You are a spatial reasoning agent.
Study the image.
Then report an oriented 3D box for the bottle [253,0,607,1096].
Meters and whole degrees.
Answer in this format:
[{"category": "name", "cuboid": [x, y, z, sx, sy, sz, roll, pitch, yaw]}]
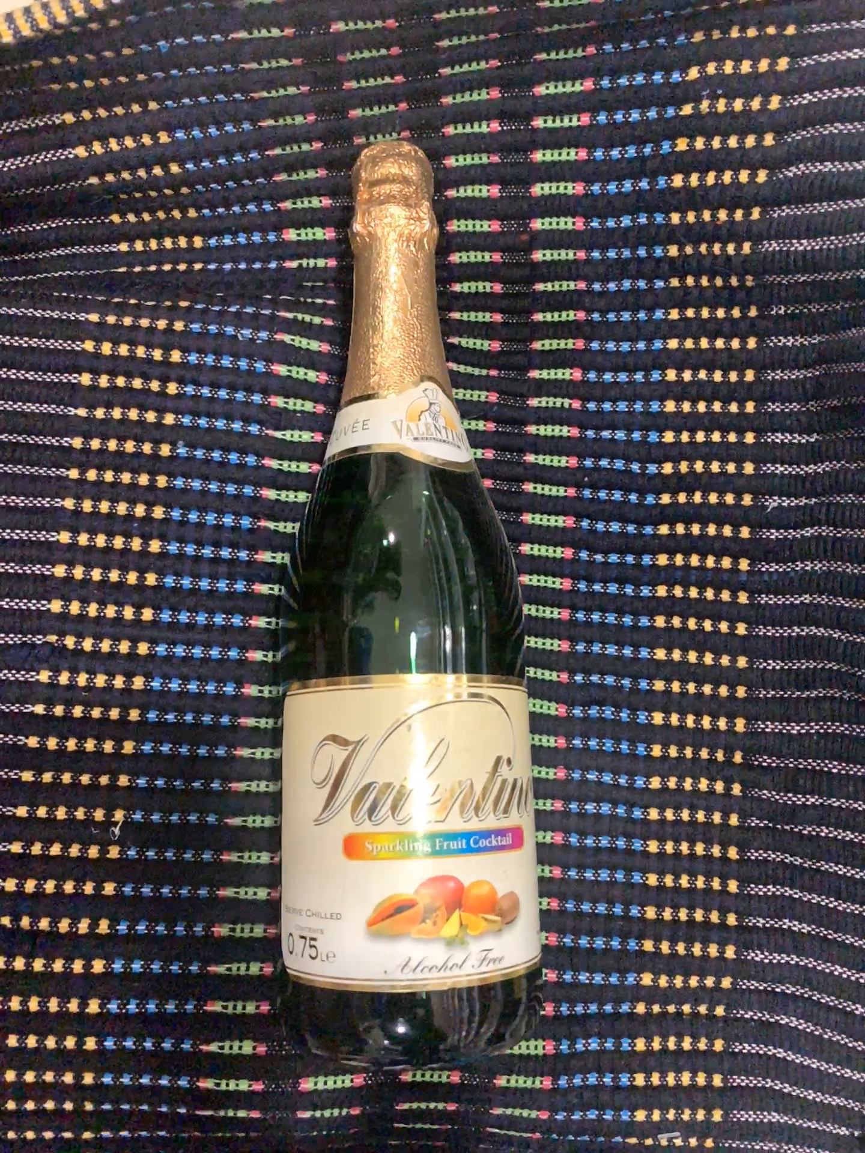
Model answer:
[{"category": "bottle", "cuboid": [-0.012, -0.030, 0.312, 0.090, 0.080, 0.350, 2, 75, -14]}]
